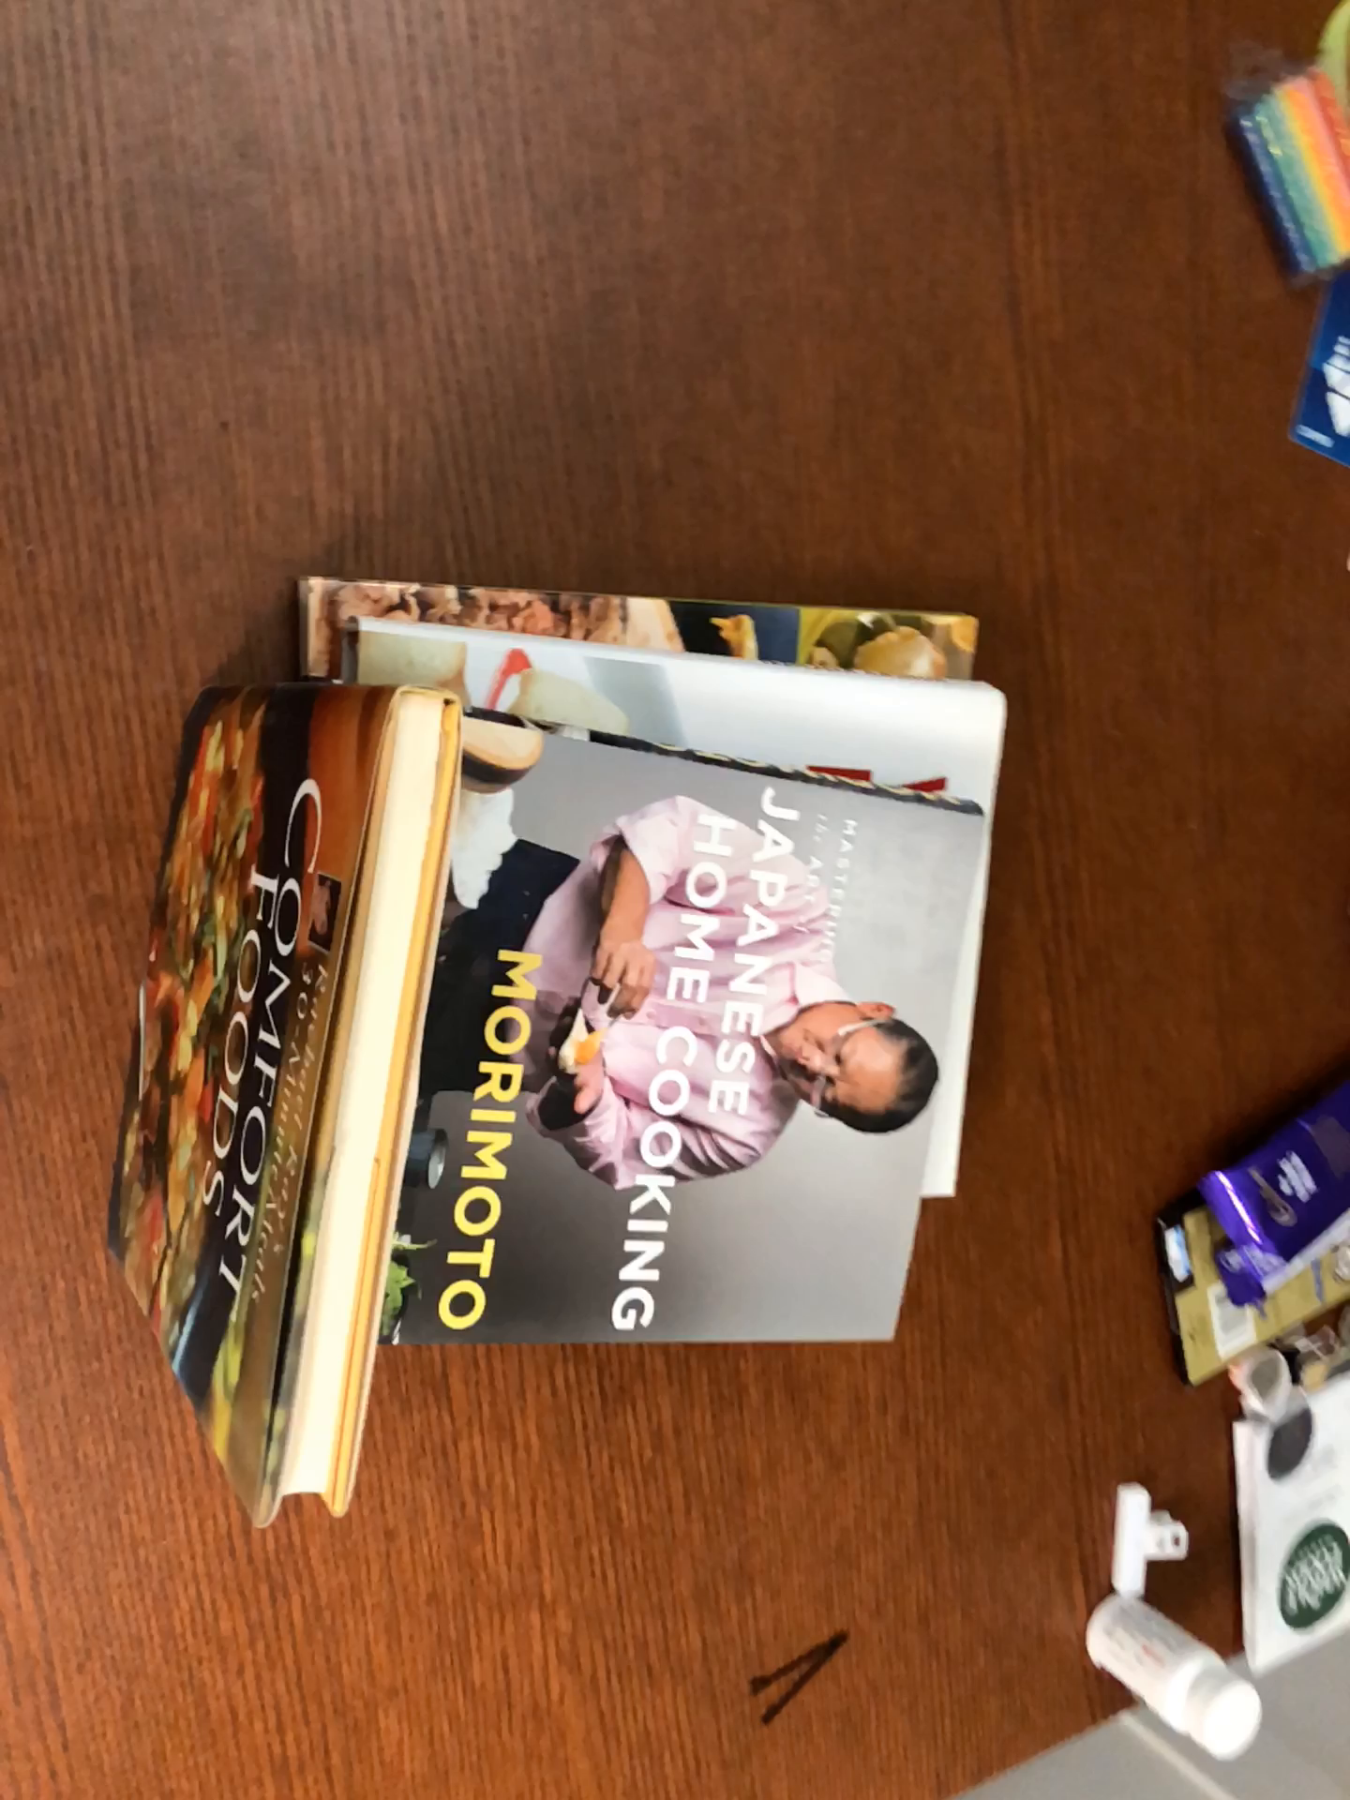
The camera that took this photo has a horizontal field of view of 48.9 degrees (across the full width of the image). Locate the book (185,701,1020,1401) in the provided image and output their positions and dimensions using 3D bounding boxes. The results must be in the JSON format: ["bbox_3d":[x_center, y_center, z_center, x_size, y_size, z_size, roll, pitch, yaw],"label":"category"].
[{"bbox_3d":[-0.014,0.062,0.534,0.281,0.030,0.220,7,93,-26],"label":"book"}]

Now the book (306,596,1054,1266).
[{"bbox_3d":[0.011,0.014,0.558,0.281,0.030,0.220,2,95,-25],"label":"book"}]

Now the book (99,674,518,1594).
[{"bbox_3d":[-0.118,0.042,0.429,0.030,0.210,0.210,10,93,-29],"label":"book"}]

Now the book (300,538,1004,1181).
[{"bbox_3d":[-0.001,-0.015,0.579,0.281,0.030,0.220,-1,96,-25],"label":"book"}]
